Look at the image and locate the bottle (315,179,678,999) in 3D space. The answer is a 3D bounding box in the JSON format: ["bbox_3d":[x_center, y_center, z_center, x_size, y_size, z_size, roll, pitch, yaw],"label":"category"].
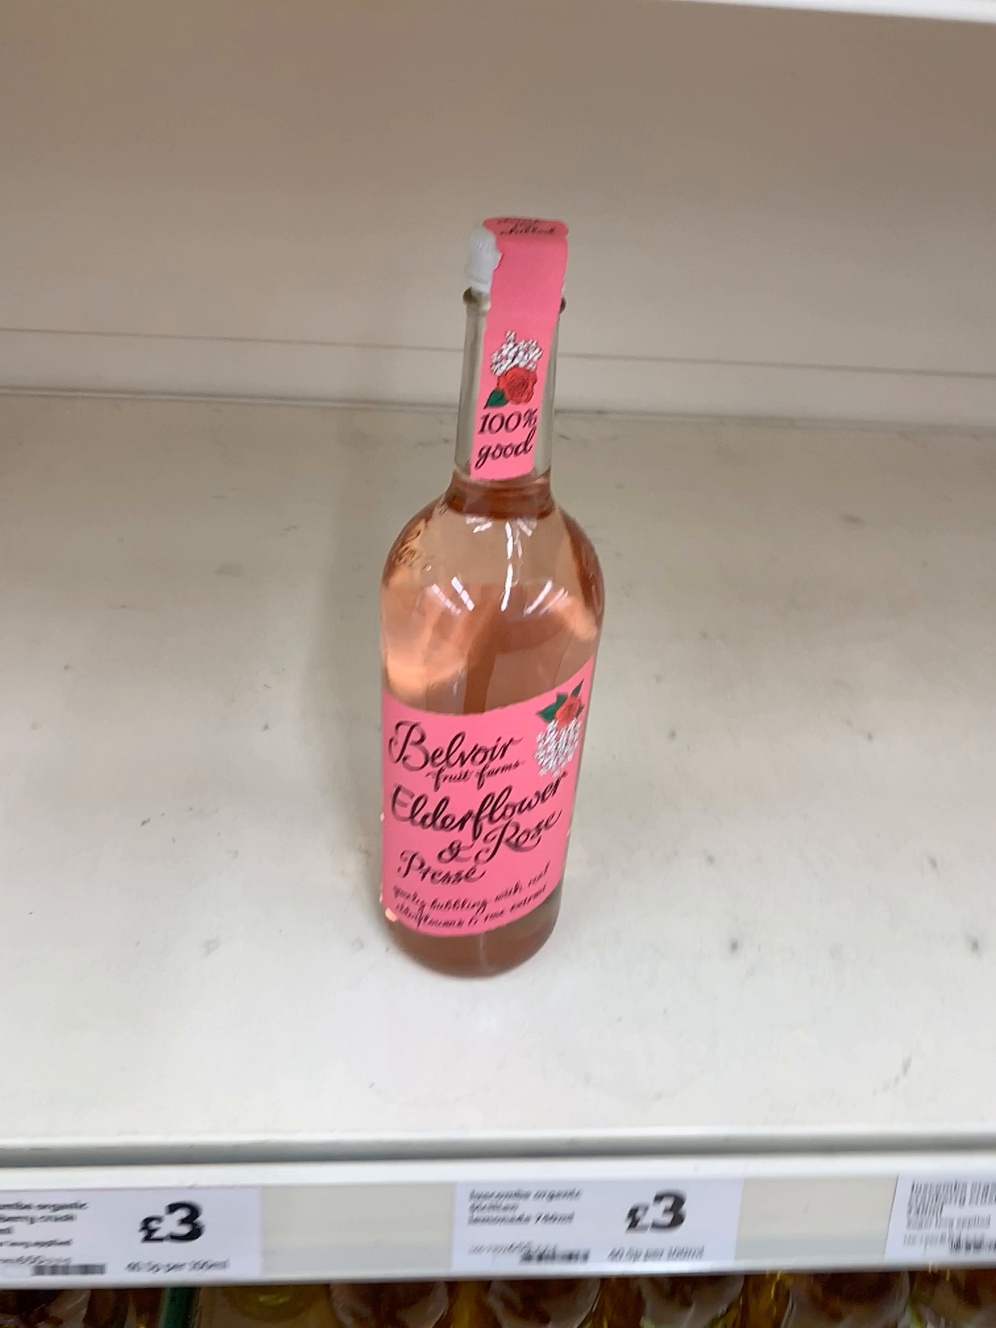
[{"bbox_3d":[-0.004,-0.010,0.364,0.086,0.274,0.087,3,36,-2],"label":"bottle"}]
